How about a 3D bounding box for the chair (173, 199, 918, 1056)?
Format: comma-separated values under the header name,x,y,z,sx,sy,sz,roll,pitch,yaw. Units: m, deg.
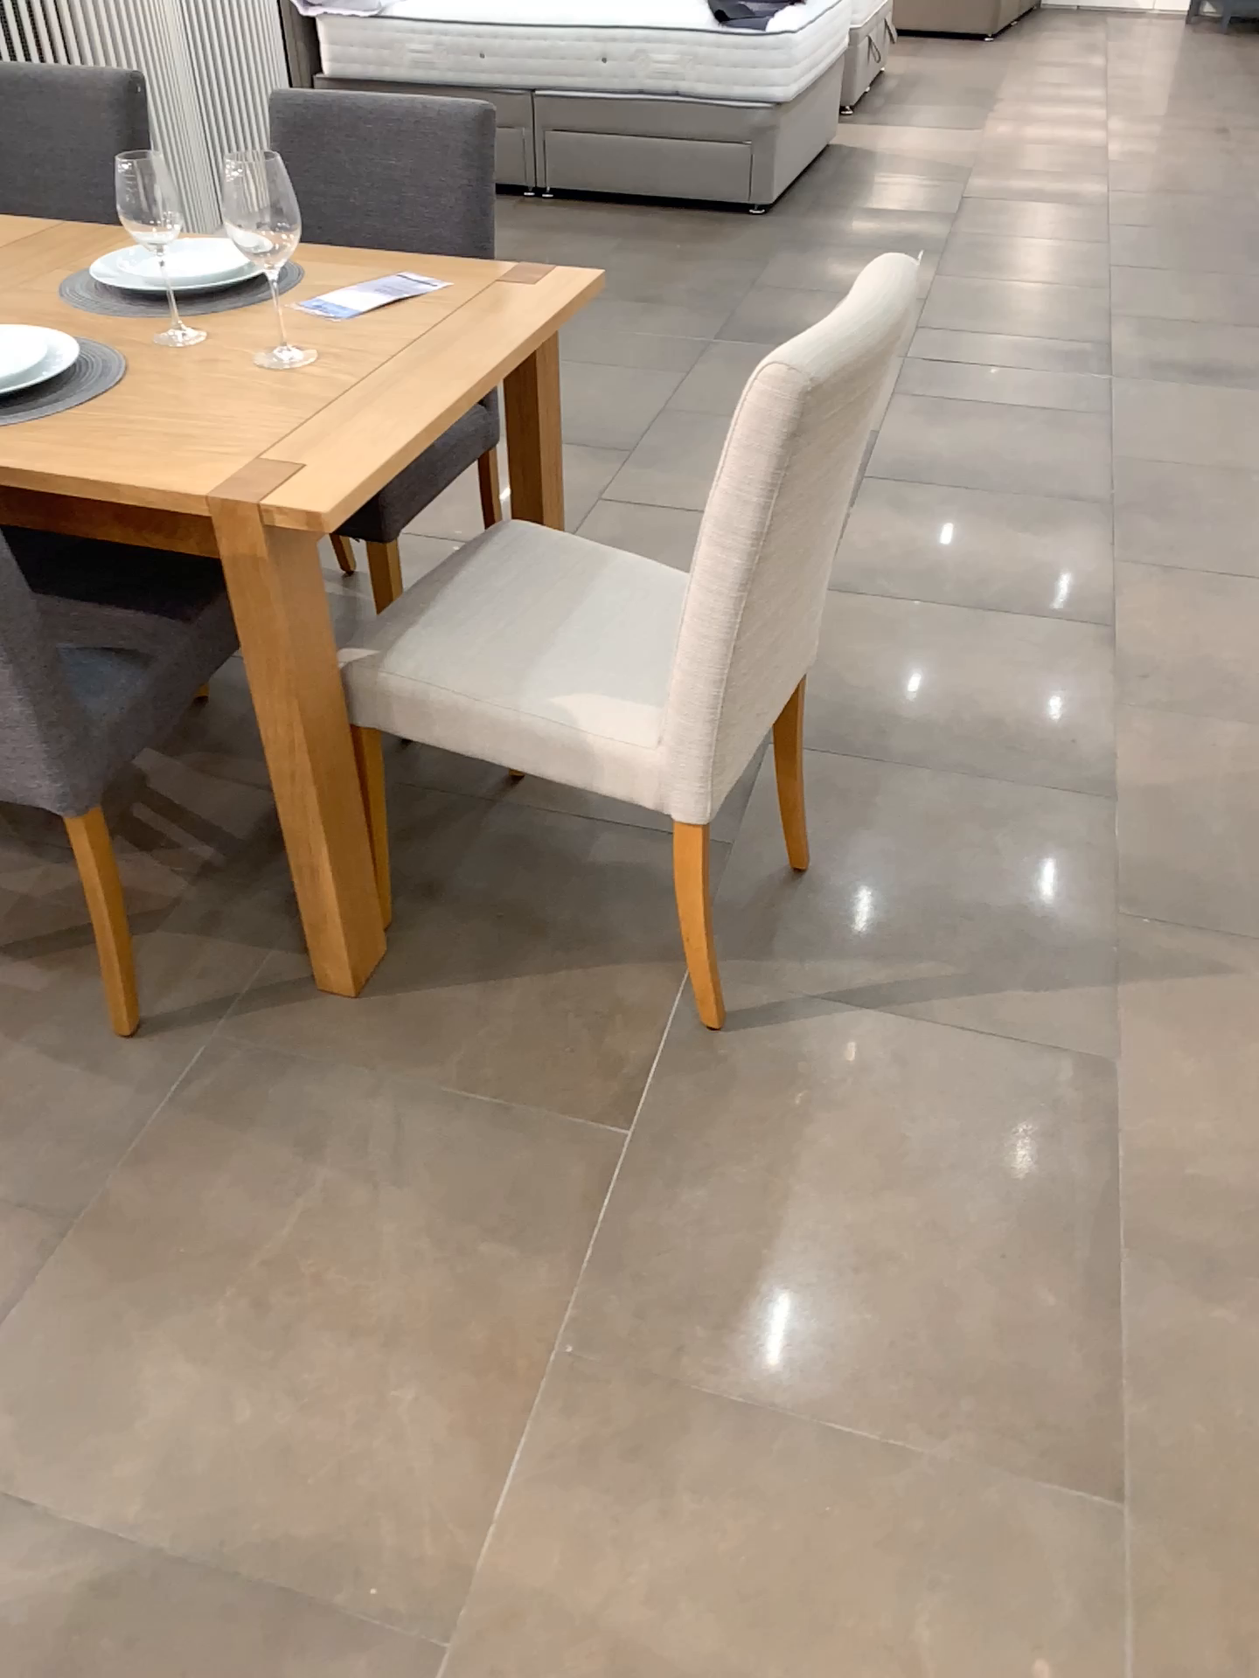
name,x,y,z,sx,sy,sz,roll,pitch,yaw
chair,-0.062,-0.288,1.659,0.643,0.838,0.540,15,41,19
